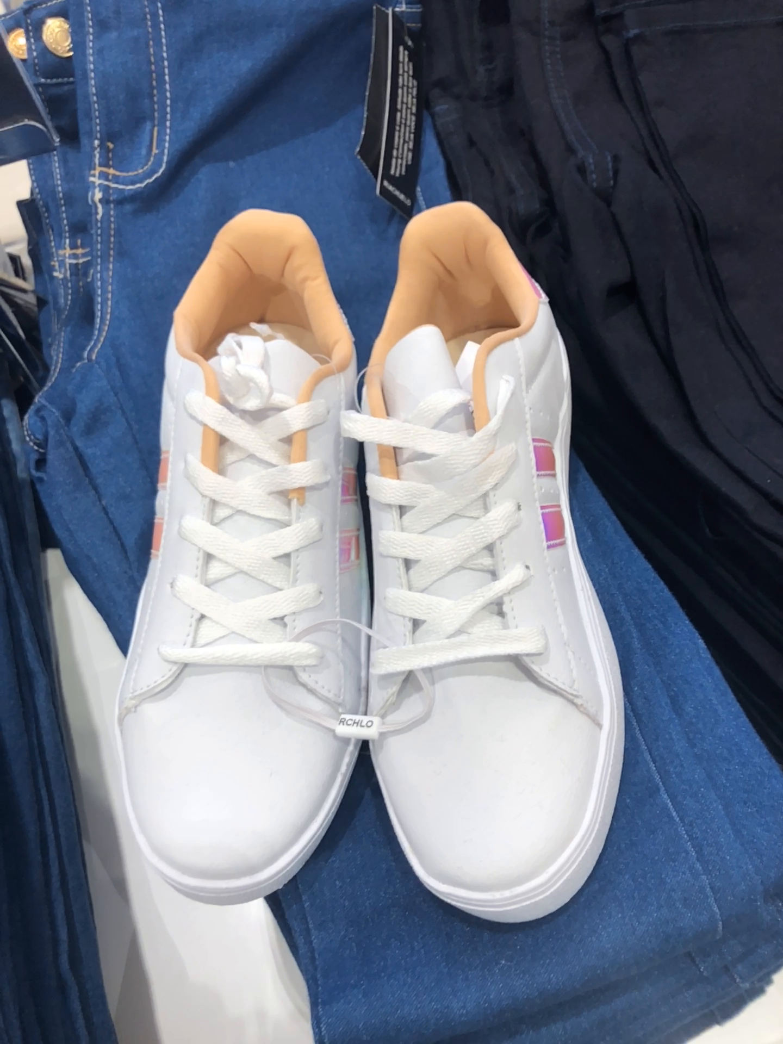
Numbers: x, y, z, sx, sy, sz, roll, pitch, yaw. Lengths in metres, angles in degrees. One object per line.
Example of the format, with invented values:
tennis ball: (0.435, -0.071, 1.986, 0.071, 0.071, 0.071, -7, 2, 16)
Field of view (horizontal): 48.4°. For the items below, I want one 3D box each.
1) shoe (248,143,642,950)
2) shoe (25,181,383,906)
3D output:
shoe: (0.024, 0.004, 0.314, 0.090, 0.110, 0.261, -8, 58, 13)
shoe: (-0.053, 0.001, 0.342, 0.090, 0.110, 0.261, 2, 59, -3)
